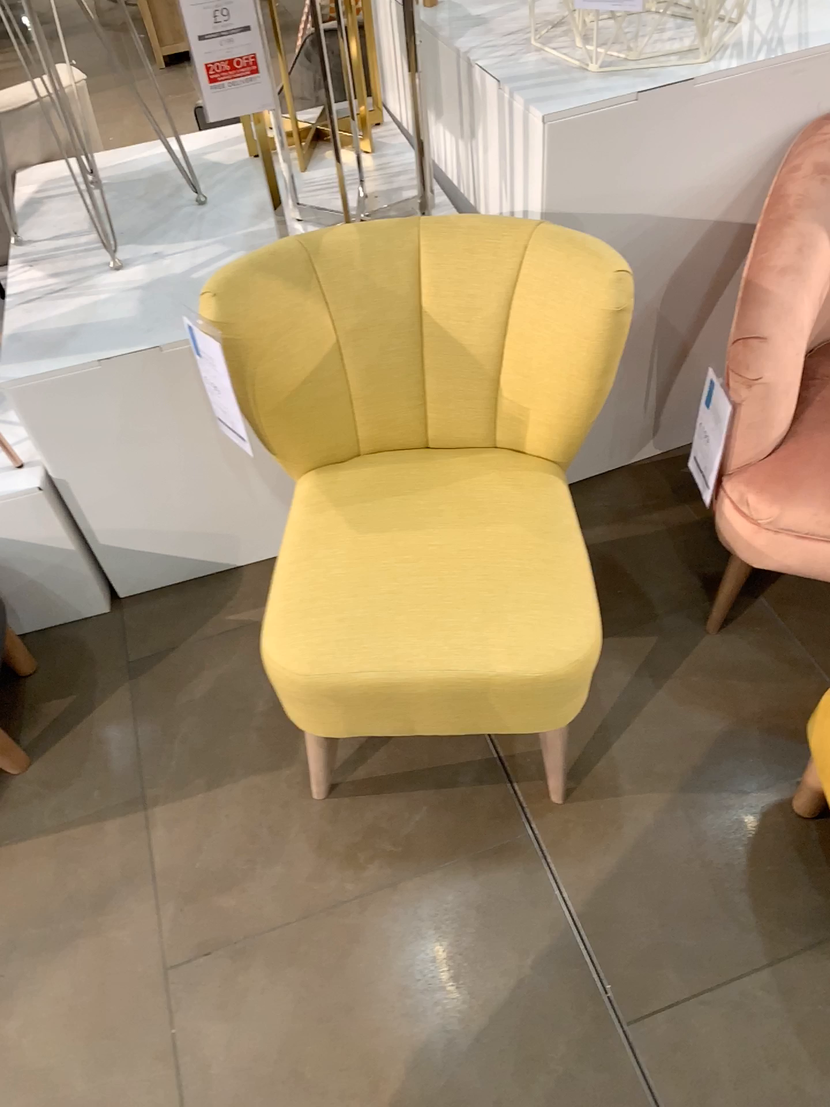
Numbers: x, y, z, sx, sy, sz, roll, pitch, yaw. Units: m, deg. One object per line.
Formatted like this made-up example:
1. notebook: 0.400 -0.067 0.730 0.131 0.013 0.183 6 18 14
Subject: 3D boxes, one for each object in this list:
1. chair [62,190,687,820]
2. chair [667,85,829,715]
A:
1. chair: 0.004 -0.047 1.259 0.607 0.696 0.591 0 48 7
2. chair: 0.808 -0.248 1.390 0.617 0.765 0.590 9 49 15
